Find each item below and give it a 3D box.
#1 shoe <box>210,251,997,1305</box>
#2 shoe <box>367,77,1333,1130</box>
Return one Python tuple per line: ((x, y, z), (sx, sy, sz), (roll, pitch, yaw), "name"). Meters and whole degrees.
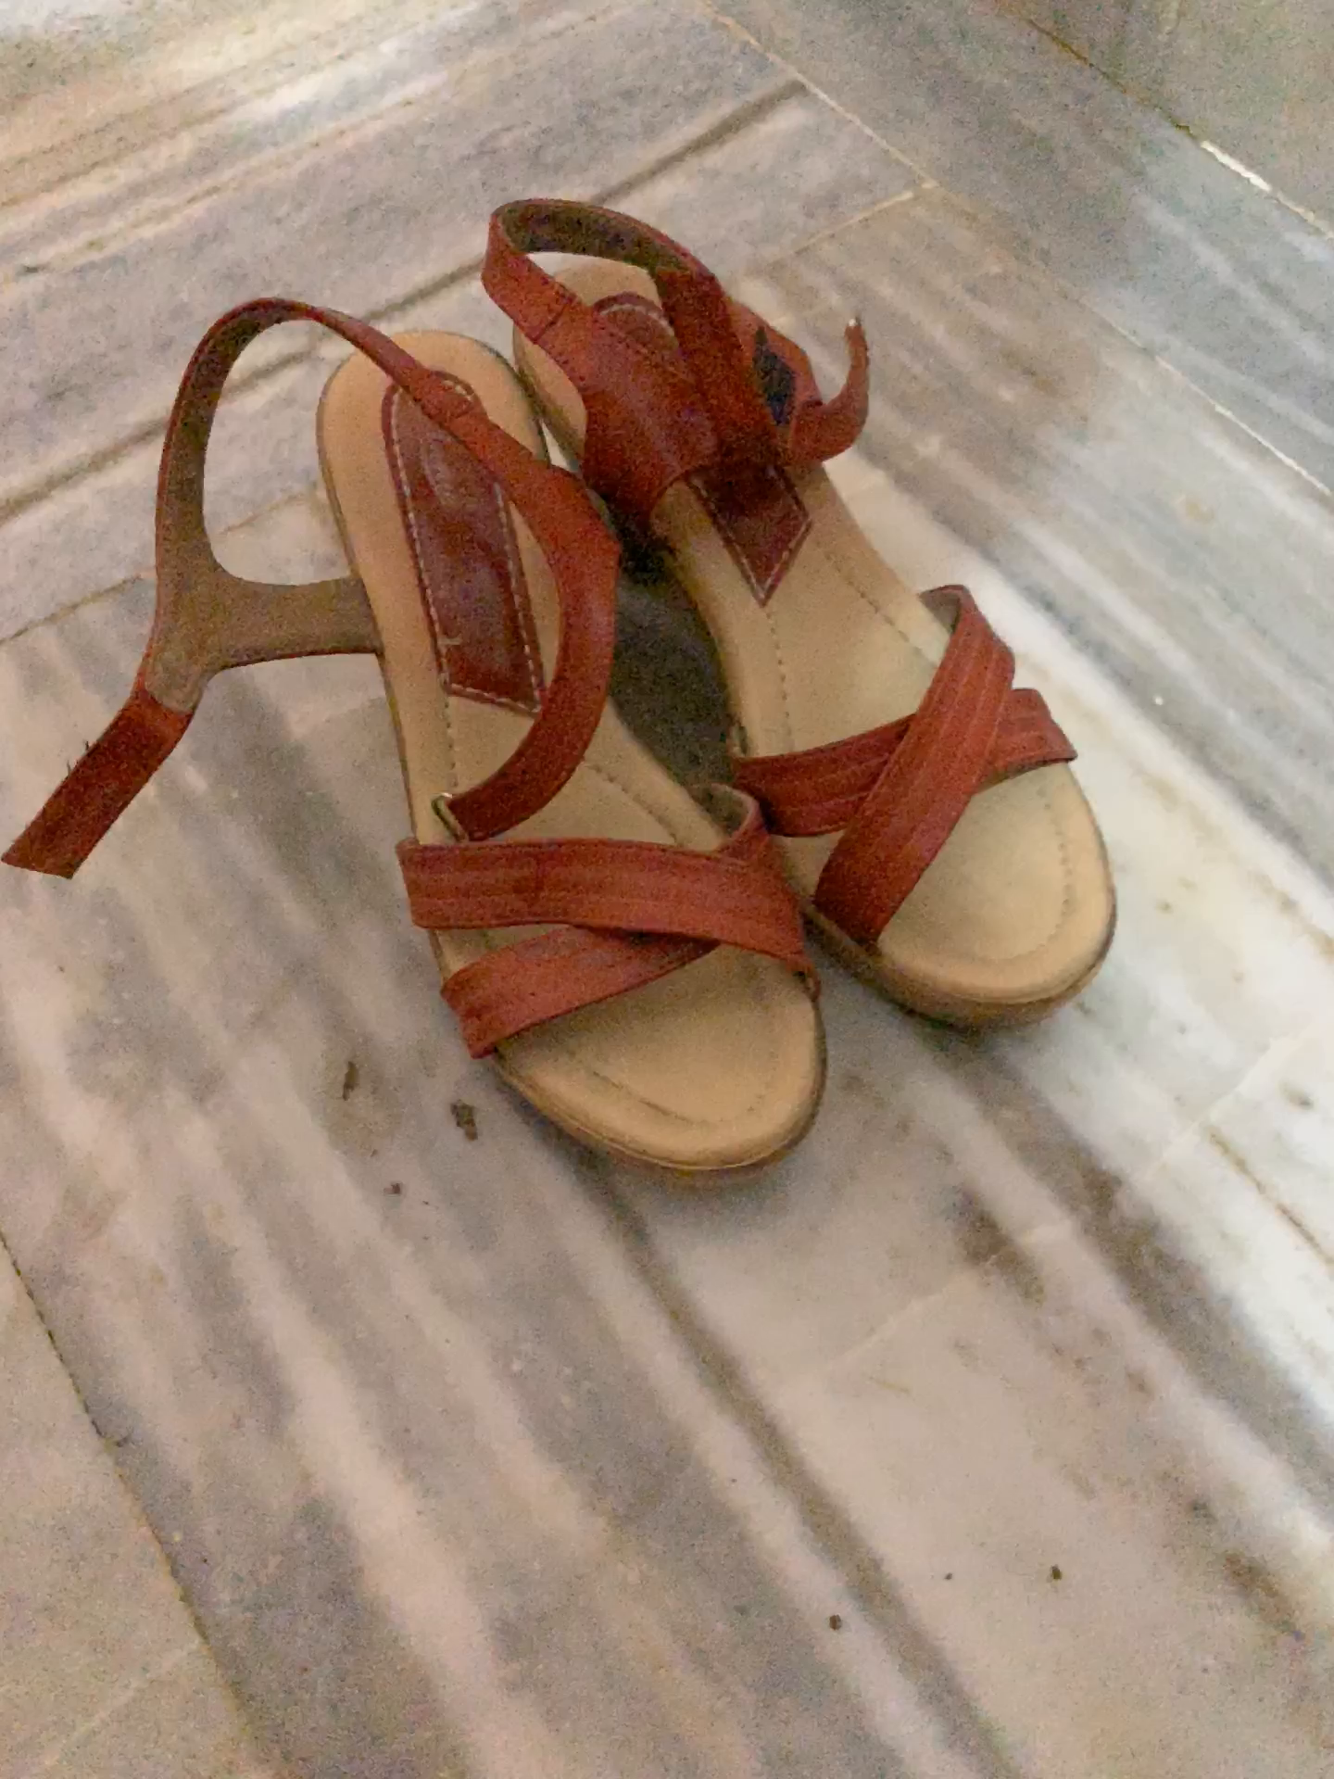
((-0.027, -0.035, 0.358), (0.100, 0.100, 0.240), (-20, 64, -10), "shoe")
((0.031, -0.078, 0.350), (0.100, 0.100, 0.240), (-29, 66, -14), "shoe")
